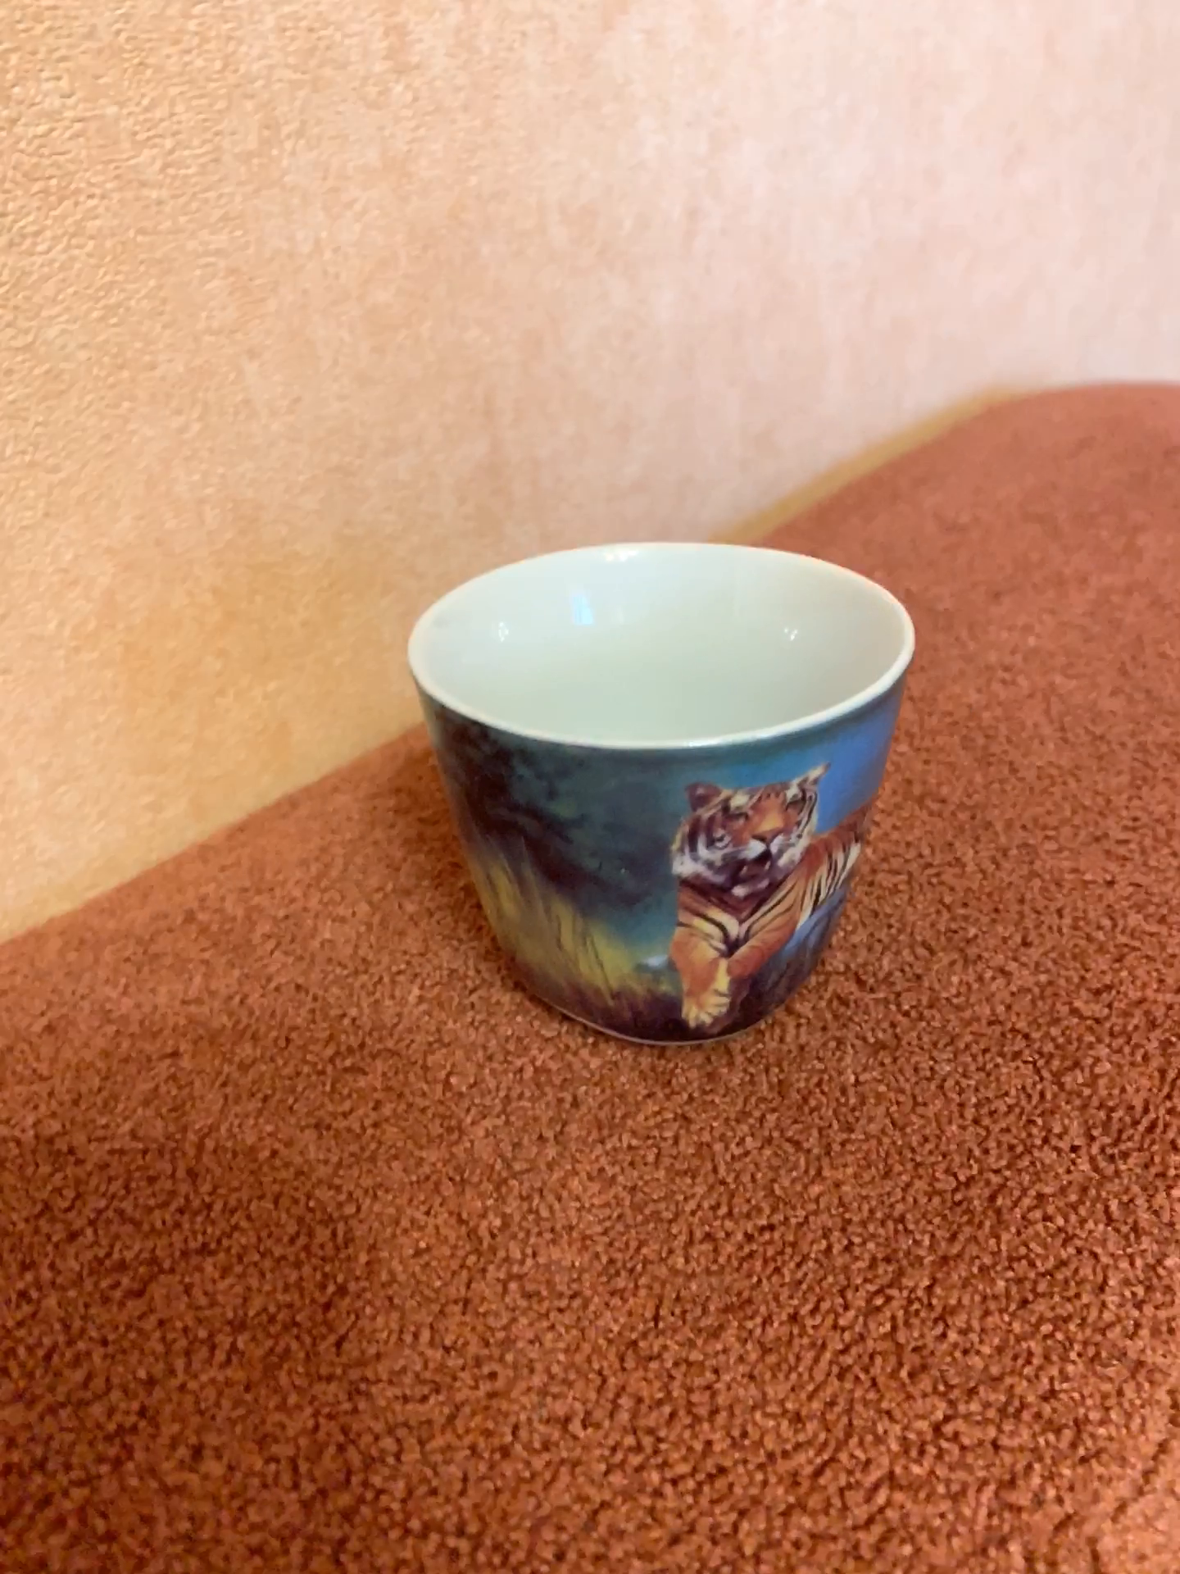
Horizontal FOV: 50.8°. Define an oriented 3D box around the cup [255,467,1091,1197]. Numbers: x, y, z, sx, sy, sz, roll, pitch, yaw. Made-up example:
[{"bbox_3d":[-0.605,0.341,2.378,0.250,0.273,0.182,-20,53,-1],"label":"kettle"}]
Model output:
[{"bbox_3d":[0.013,-0.004,0.174,0.072,0.047,0.083,25,43,38],"label":"cup"}]
